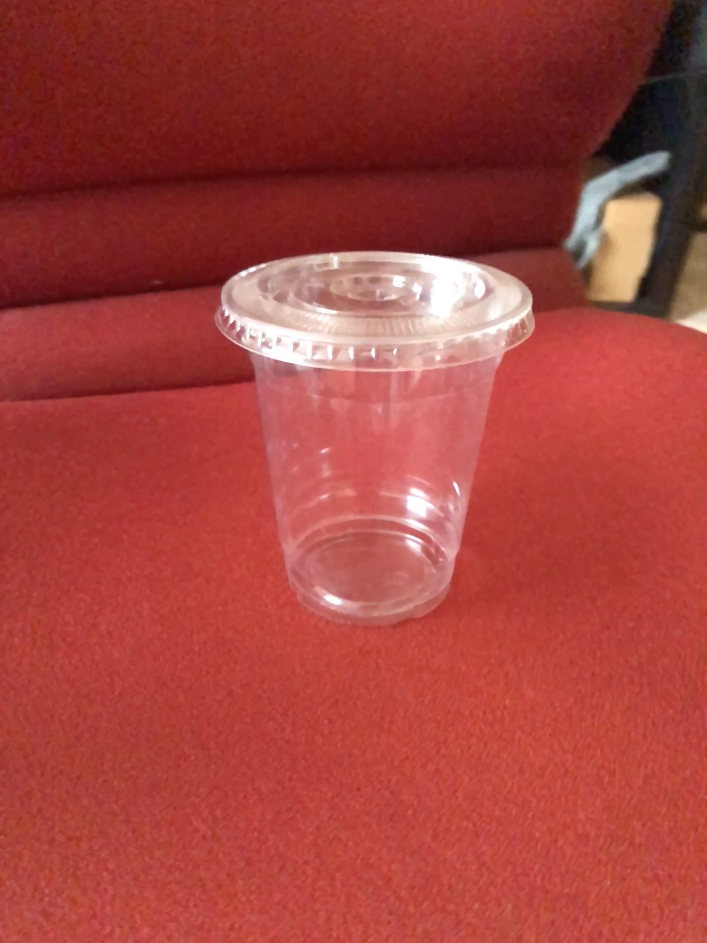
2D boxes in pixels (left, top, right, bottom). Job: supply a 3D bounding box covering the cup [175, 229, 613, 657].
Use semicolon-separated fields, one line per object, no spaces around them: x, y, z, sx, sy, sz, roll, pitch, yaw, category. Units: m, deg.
0.003;-0.018;0.249;0.100;0.090;0.100;0;28;0;cup
